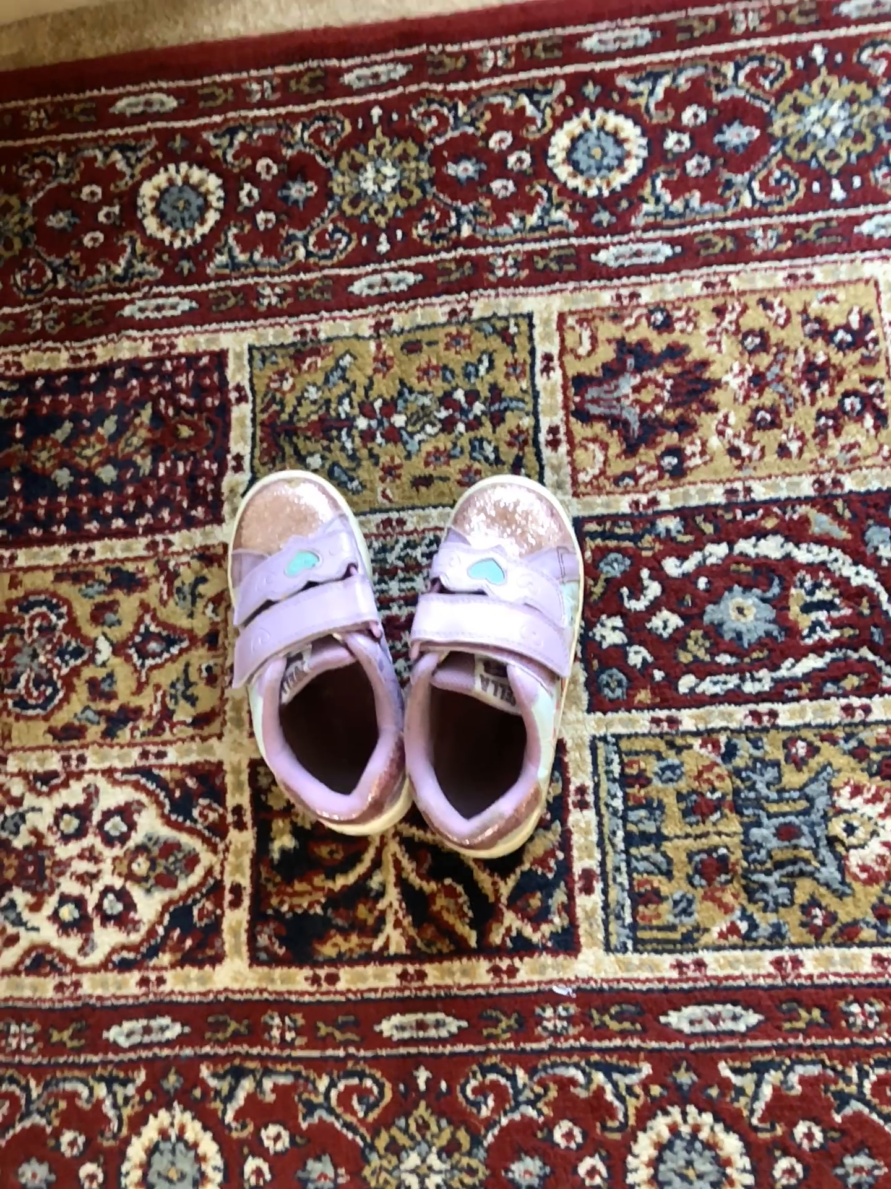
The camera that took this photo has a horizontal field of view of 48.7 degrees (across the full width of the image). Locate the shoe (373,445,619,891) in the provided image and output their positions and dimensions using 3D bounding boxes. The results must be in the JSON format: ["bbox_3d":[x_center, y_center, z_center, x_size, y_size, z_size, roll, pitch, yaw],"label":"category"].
[{"bbox_3d":[0.031,0.036,0.497,0.100,0.090,0.200,3,80,8],"label":"shoe"}]

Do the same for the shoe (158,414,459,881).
[{"bbox_3d":[-0.069,0.029,0.516,0.090,0.090,0.209,-17,77,4],"label":"shoe"}]
